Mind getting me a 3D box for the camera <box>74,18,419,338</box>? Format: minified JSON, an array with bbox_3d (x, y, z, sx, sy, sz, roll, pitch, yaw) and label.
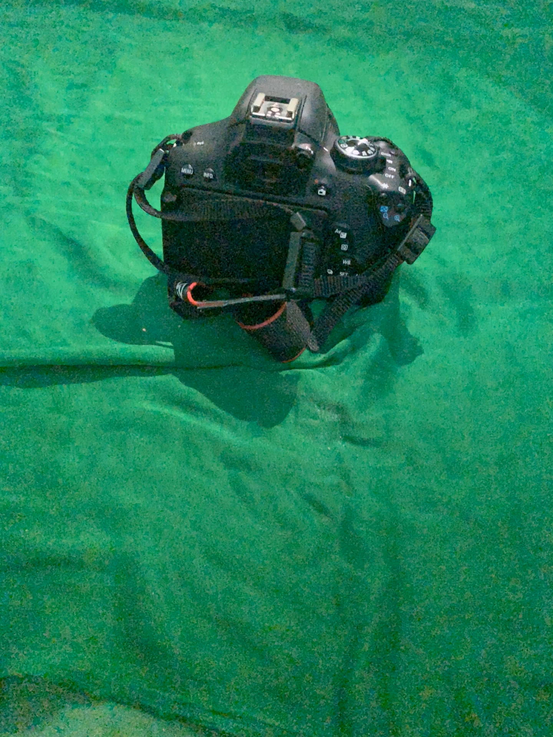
[{"bbox_3d":[-0.010,-0.126,0.352,0.152,0.100,0.191,3,48,1],"label":"camera"}]
